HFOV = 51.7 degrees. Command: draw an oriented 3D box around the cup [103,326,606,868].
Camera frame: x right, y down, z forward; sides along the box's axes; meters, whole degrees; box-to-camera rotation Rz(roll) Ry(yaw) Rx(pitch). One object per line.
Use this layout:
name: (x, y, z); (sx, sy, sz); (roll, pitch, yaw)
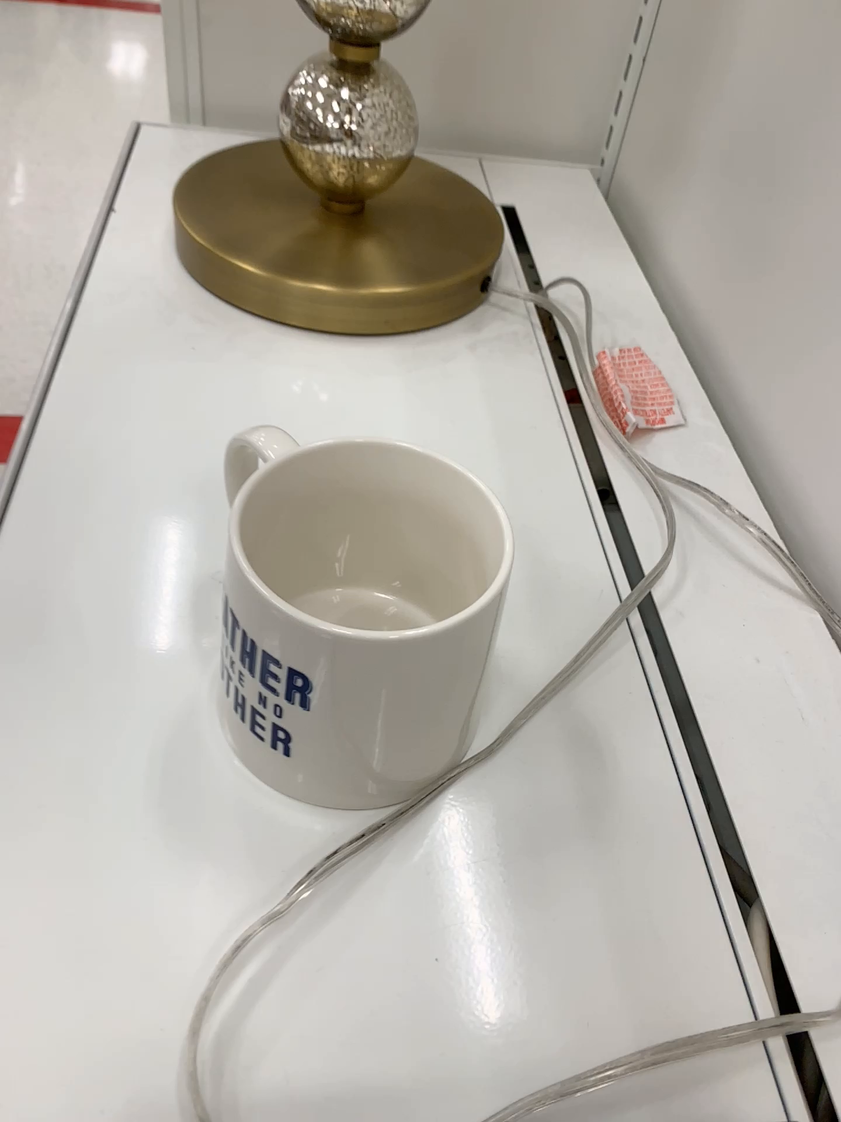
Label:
cup: (-0.035, 0.007, 0.368); (0.120, 0.119, 0.160); (-24, 55, -29)
